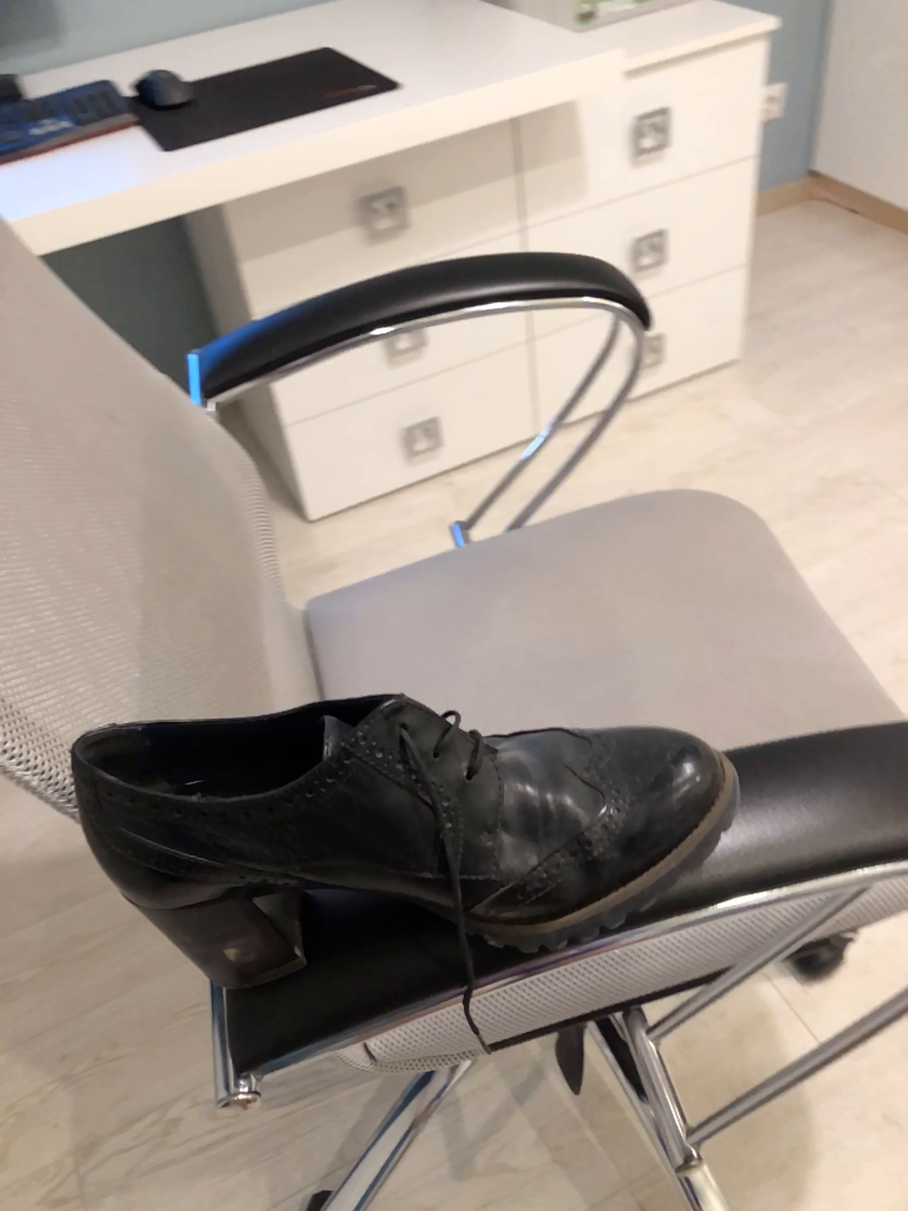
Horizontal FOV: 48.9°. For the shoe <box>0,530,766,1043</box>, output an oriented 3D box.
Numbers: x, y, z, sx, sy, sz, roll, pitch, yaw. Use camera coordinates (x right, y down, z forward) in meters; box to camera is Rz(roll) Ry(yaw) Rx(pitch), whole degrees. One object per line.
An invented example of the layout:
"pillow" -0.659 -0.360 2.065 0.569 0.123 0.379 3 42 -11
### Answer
"shoe" -0.021 0.076 0.389 0.250 0.119 0.101 -13 42 8
